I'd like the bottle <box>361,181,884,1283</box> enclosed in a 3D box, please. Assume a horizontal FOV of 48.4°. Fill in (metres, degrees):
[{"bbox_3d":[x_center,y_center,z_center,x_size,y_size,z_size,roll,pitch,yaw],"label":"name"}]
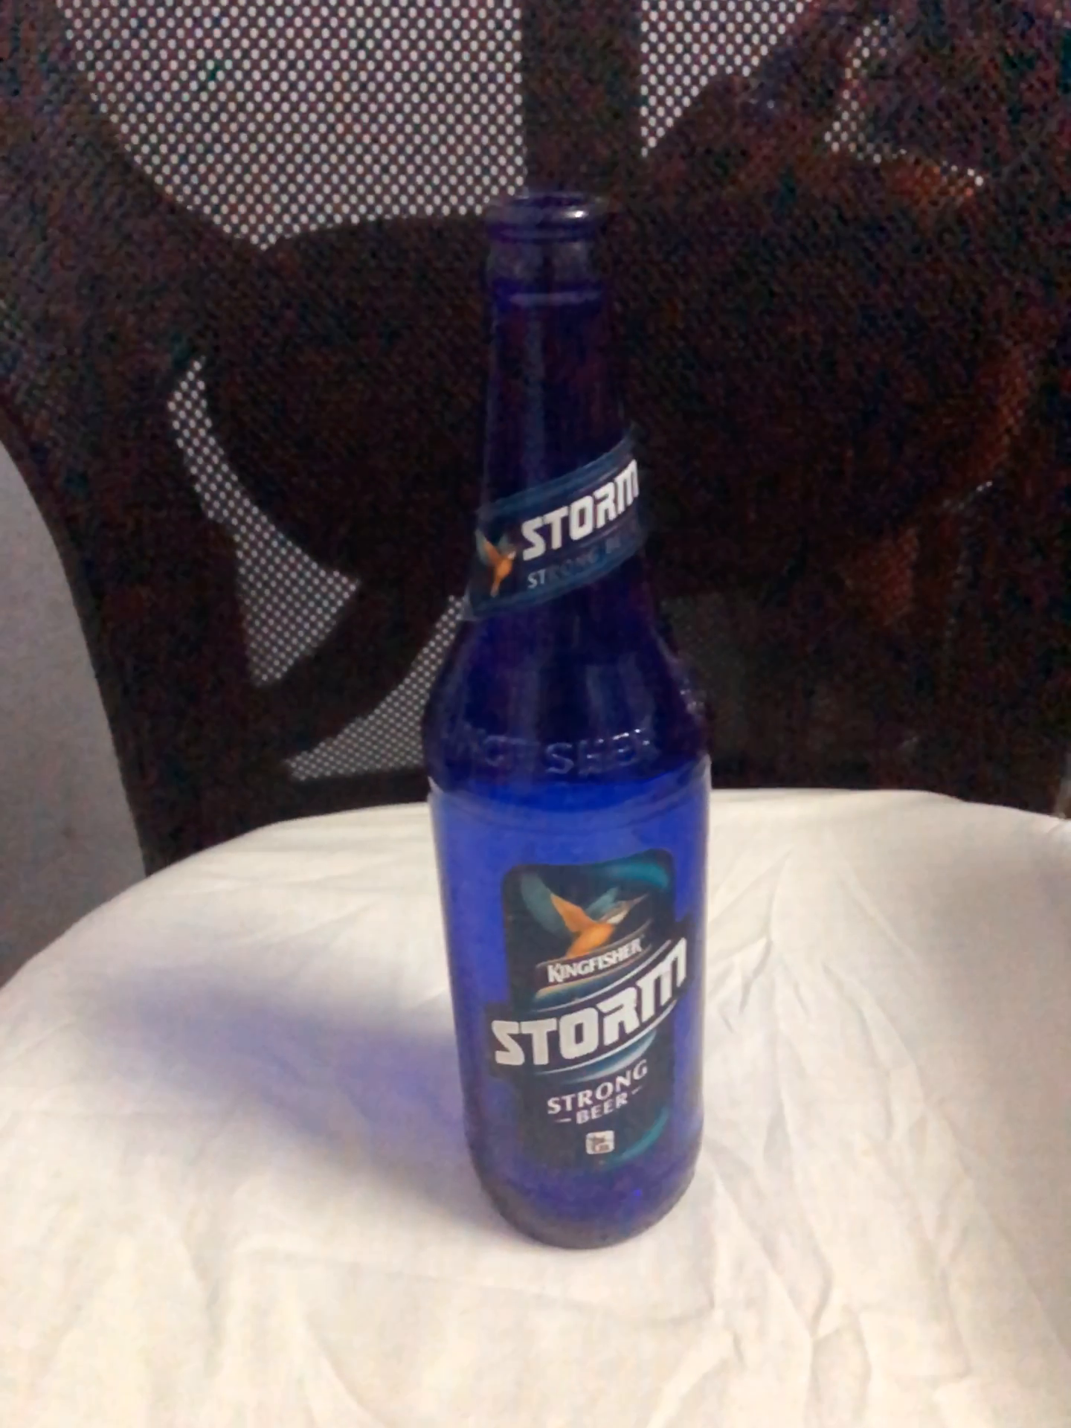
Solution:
[{"bbox_3d":[0.013,0.022,0.280,0.080,0.259,0.070,-3,32,-3],"label":"bottle"}]
